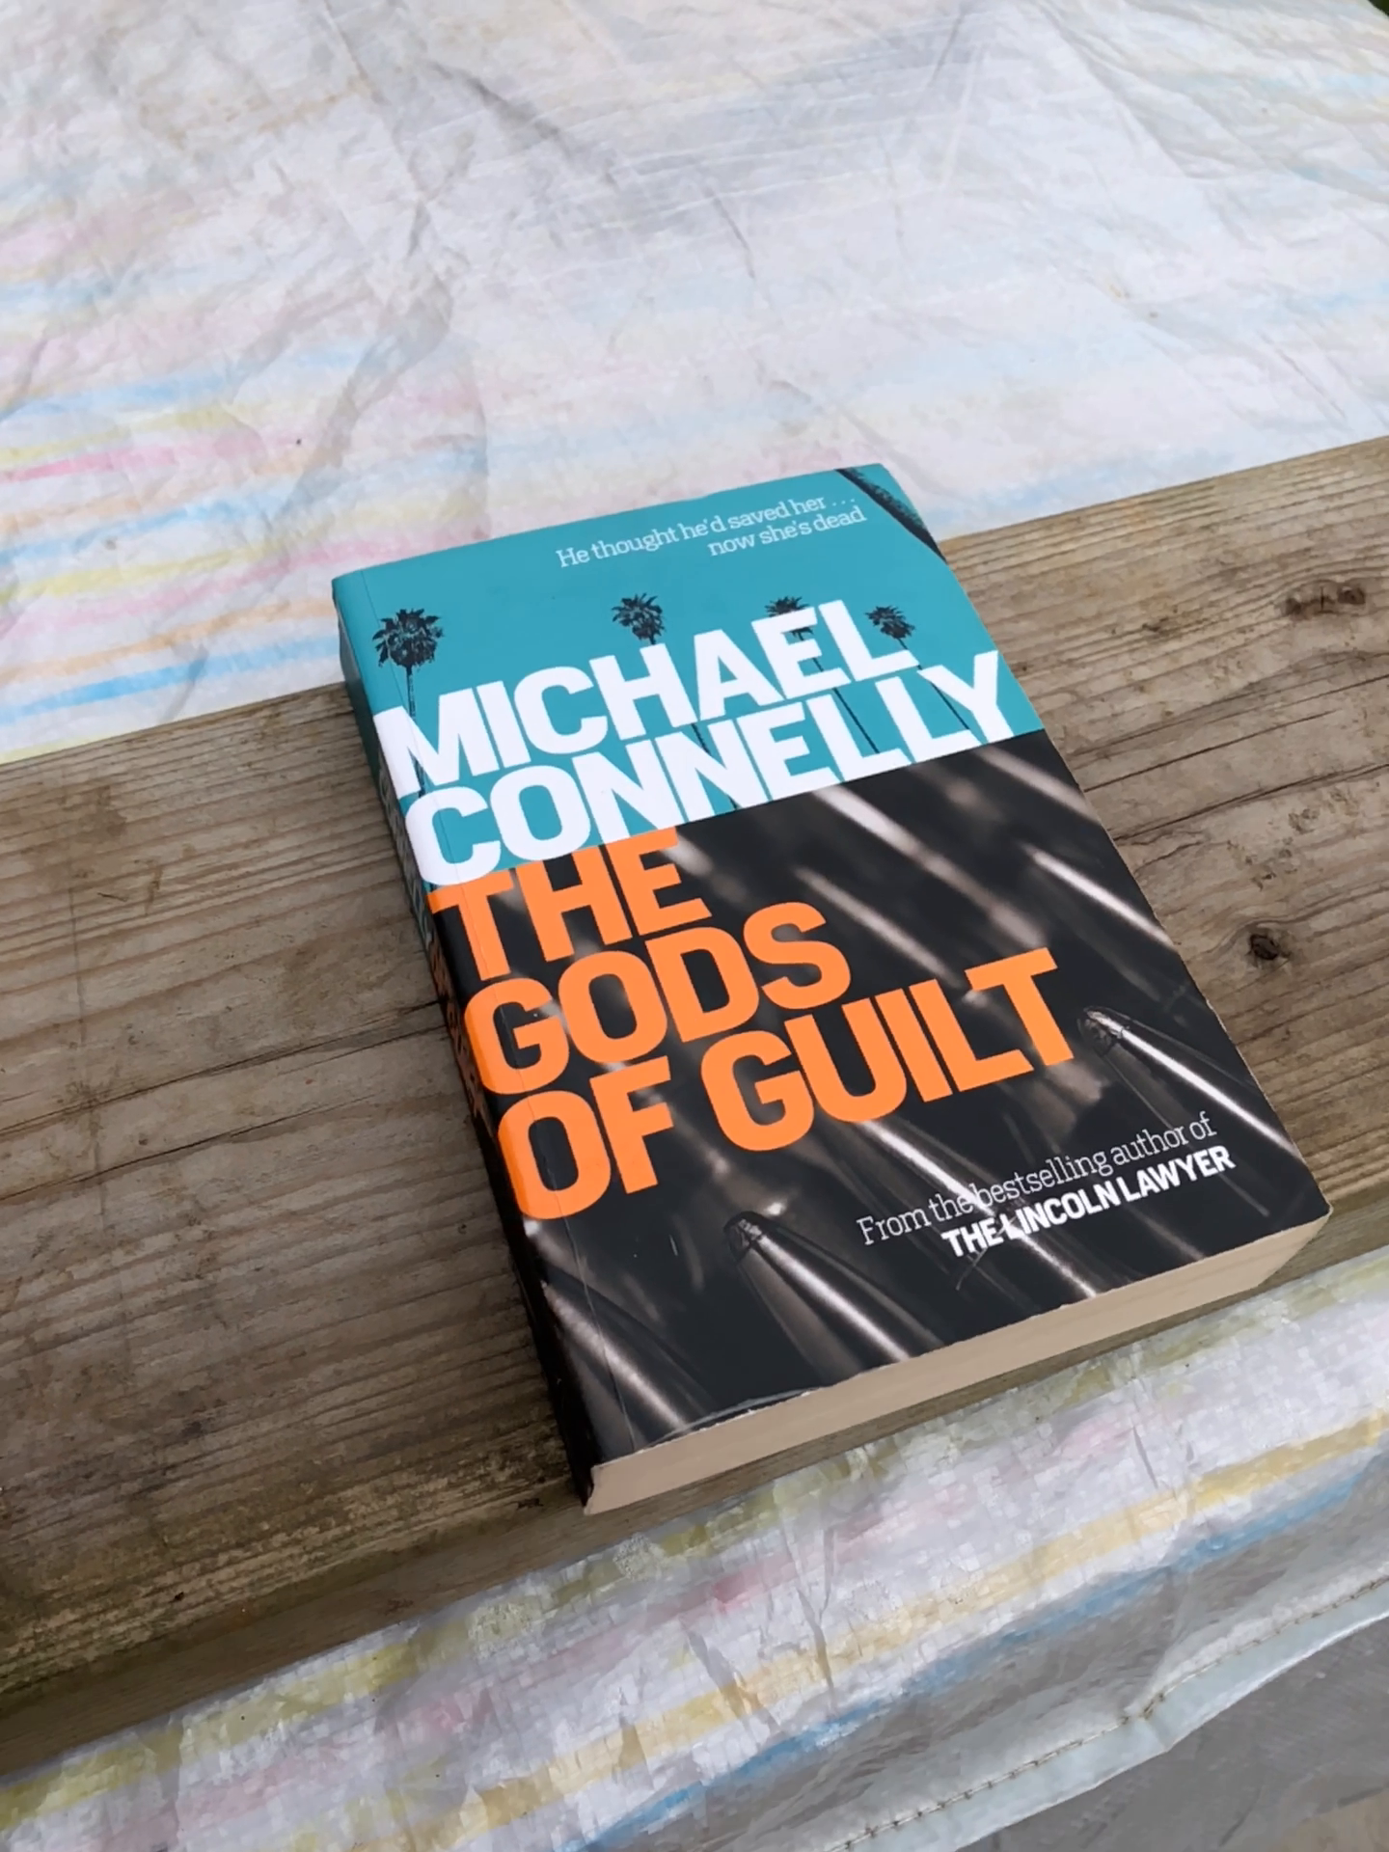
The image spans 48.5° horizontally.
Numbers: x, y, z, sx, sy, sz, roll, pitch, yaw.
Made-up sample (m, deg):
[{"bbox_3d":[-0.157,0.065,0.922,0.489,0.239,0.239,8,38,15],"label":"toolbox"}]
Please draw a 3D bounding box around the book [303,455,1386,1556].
[{"bbox_3d":[0.015,-0.003,0.309,0.140,0.040,0.201,-15,57,-13],"label":"book"}]
